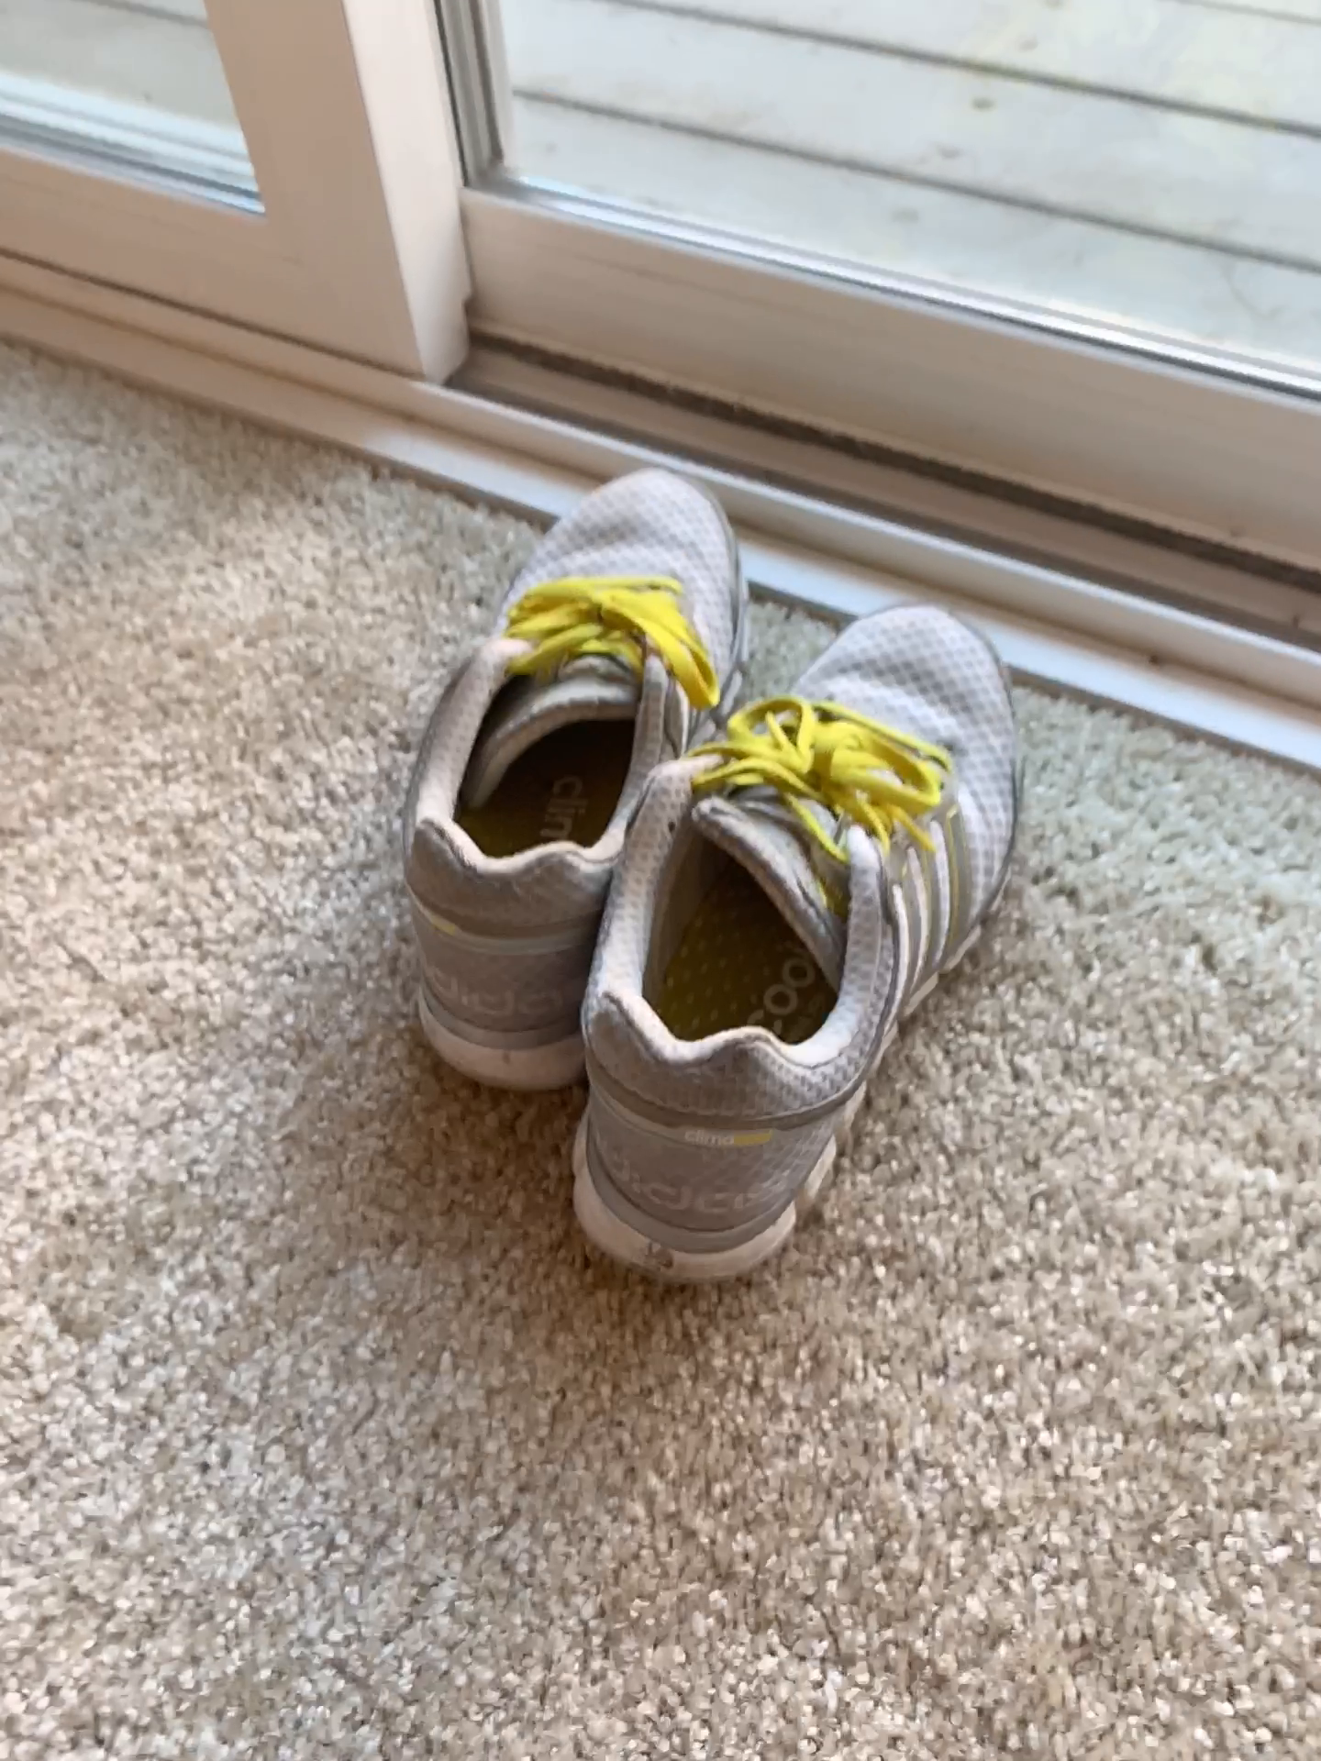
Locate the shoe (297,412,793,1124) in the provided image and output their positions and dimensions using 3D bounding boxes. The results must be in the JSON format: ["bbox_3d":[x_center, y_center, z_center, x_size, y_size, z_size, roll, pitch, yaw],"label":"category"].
[{"bbox_3d":[-0.027,-0.050,0.464,0.090,0.100,0.231,14,47,6],"label":"shoe"}]

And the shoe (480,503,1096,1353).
[{"bbox_3d":[0.046,-0.001,0.417,0.090,0.100,0.241,23,49,11],"label":"shoe"}]
